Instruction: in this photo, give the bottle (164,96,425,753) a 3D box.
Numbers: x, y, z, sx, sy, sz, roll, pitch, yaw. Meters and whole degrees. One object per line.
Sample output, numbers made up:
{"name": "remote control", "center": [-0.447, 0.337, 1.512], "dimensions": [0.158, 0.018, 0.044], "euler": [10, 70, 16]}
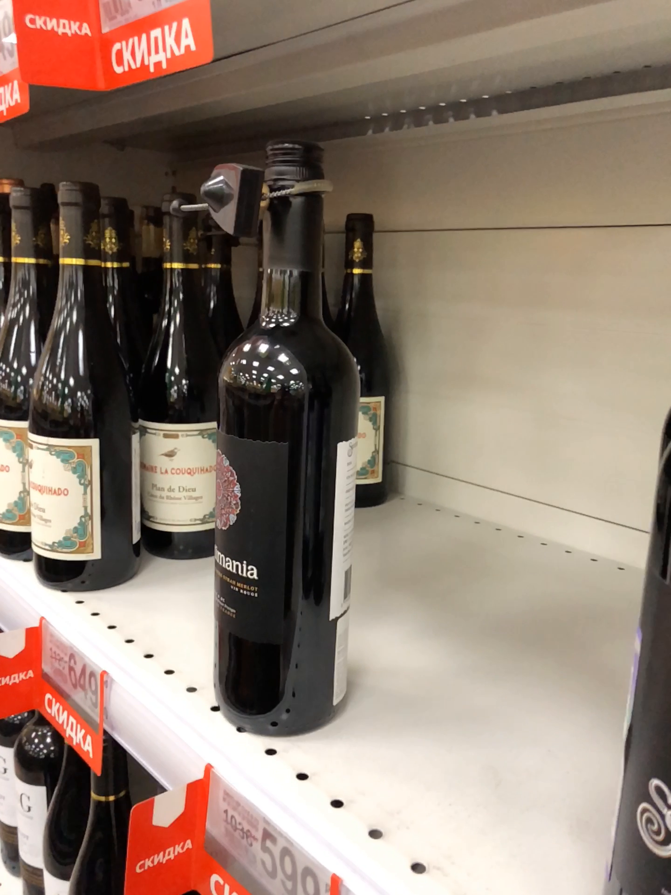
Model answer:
{"name": "bottle", "center": [-0.025, -0.010, 0.383], "dimensions": [0.090, 0.291, 0.090], "euler": [2, 13, 0]}
